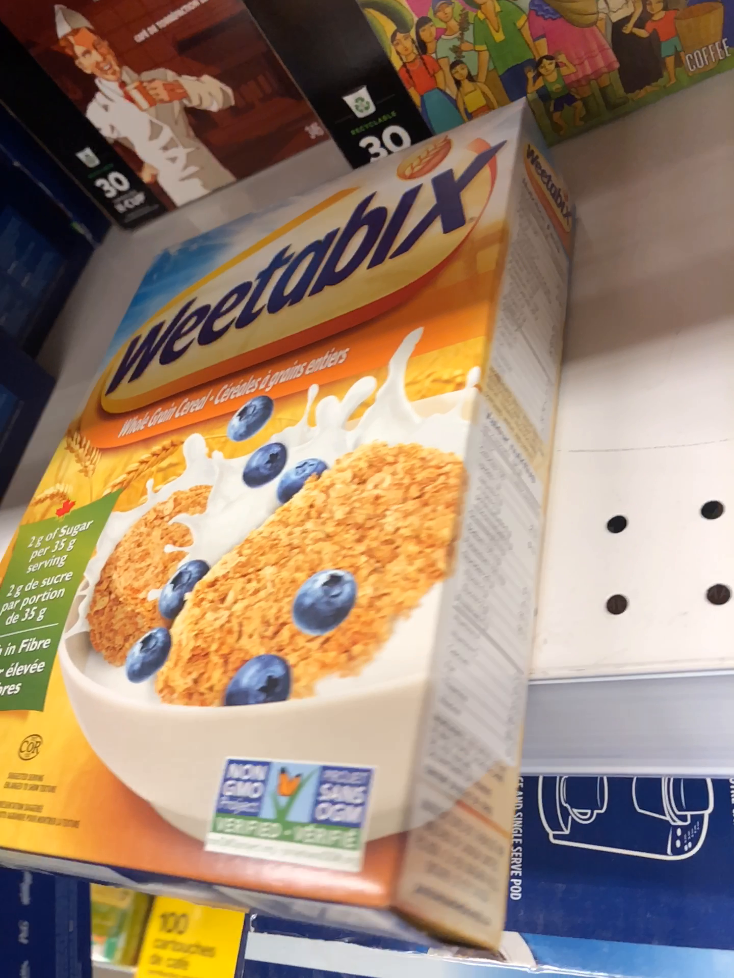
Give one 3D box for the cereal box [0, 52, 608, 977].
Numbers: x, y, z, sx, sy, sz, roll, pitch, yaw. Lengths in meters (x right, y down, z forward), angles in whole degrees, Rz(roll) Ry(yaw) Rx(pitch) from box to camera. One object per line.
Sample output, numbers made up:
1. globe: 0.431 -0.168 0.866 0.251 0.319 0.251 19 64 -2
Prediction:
1. cereal box: -0.036 -0.012 0.289 0.211 0.050 0.290 -10 49 33
